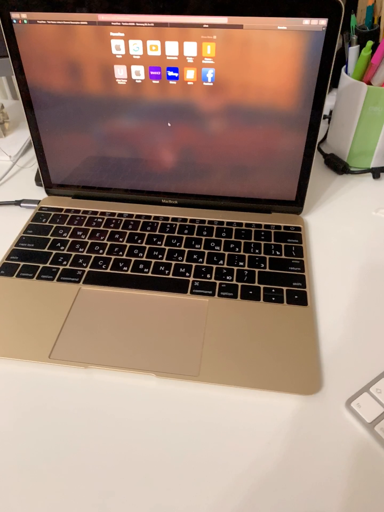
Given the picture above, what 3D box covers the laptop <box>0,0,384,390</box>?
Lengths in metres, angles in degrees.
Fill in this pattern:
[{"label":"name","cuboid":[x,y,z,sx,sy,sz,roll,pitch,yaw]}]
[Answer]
[{"label":"laptop","cuboid":[-0.037,-0.058,0.273,0.247,0.168,0.198,5,44,6]}]
